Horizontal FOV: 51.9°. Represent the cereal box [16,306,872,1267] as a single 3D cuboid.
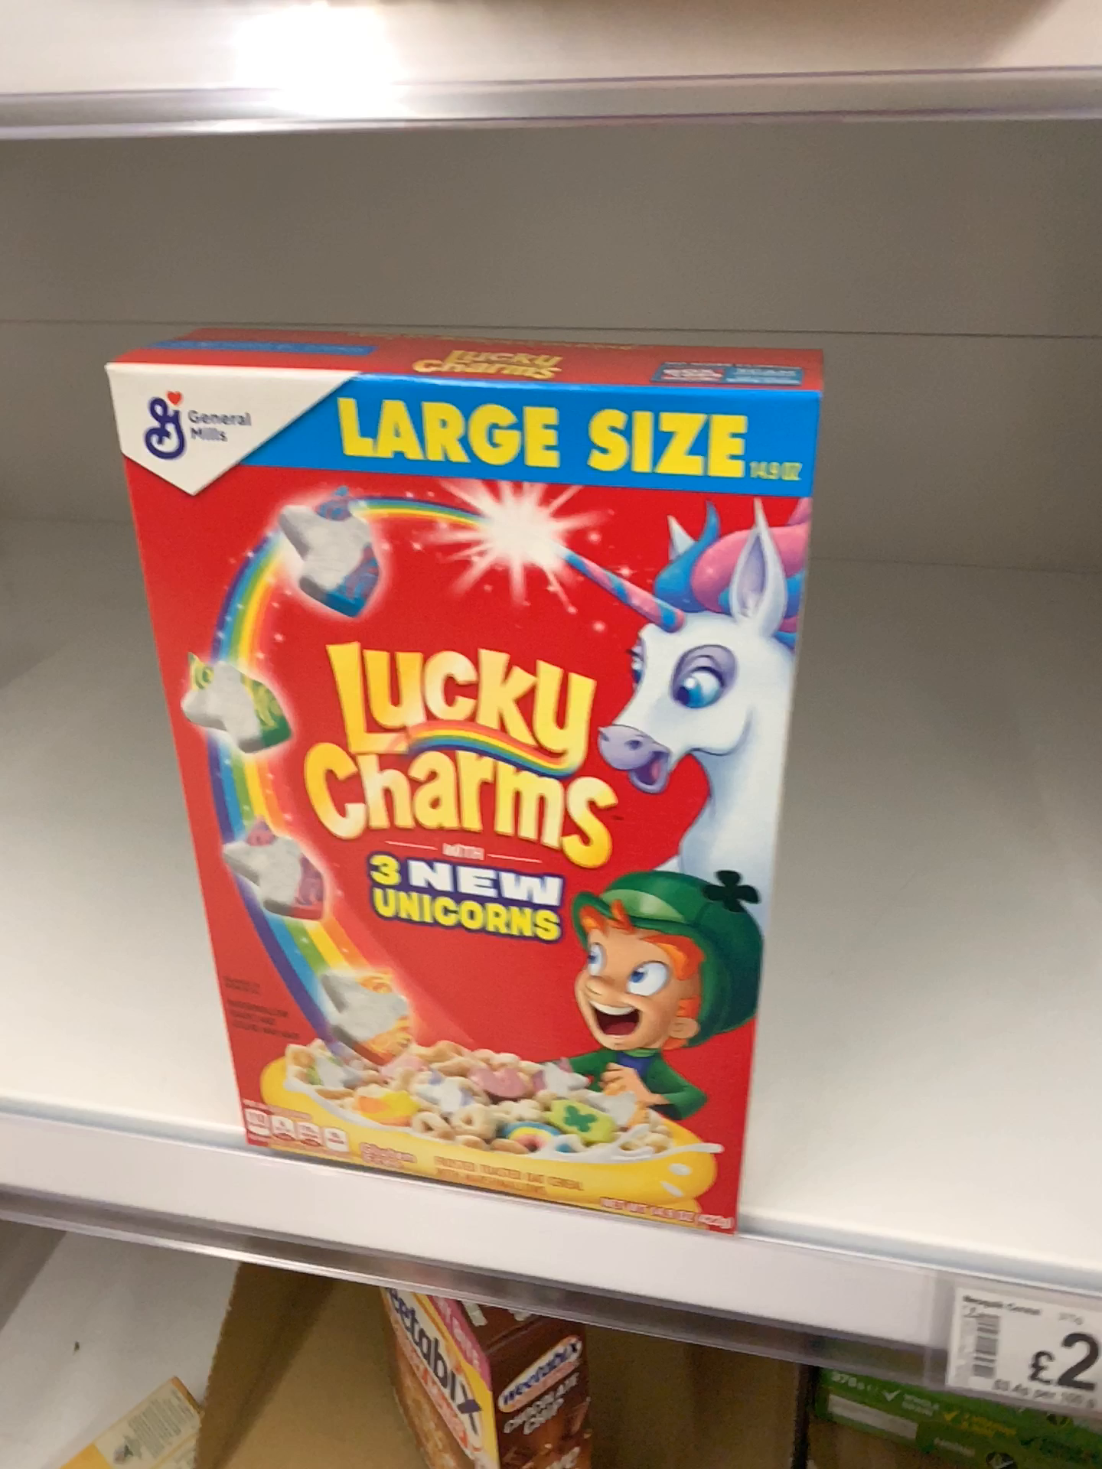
[{"bbox_3d":[-0.023,0.022,0.361,0.210,0.287,0.071,5,28,12],"label":"cereal box"}]
